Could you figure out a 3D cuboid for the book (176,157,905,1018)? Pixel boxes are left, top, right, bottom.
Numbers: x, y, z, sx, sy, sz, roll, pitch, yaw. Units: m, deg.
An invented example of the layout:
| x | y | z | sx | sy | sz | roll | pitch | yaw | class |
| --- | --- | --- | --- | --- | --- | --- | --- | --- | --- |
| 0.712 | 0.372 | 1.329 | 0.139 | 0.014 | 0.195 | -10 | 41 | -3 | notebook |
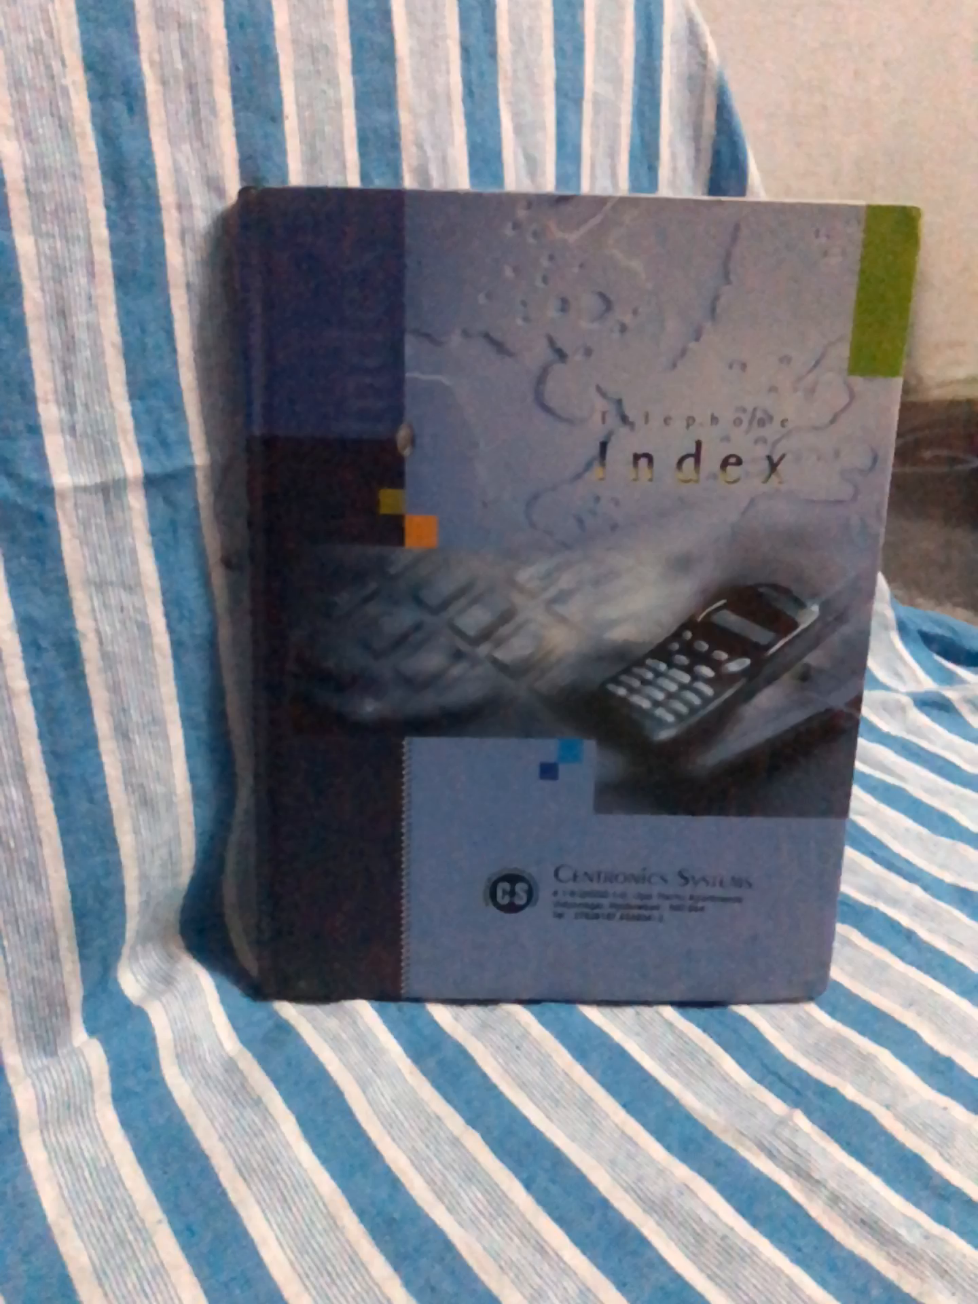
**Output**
| x | y | z | sx | sy | sz | roll | pitch | yaw | class |
| --- | --- | --- | --- | --- | --- | --- | --- | --- | --- |
| 0.010 | -0.007 | 0.330 | 0.193 | 0.253 | 0.023 | 1 | 15 | -3 | book |
